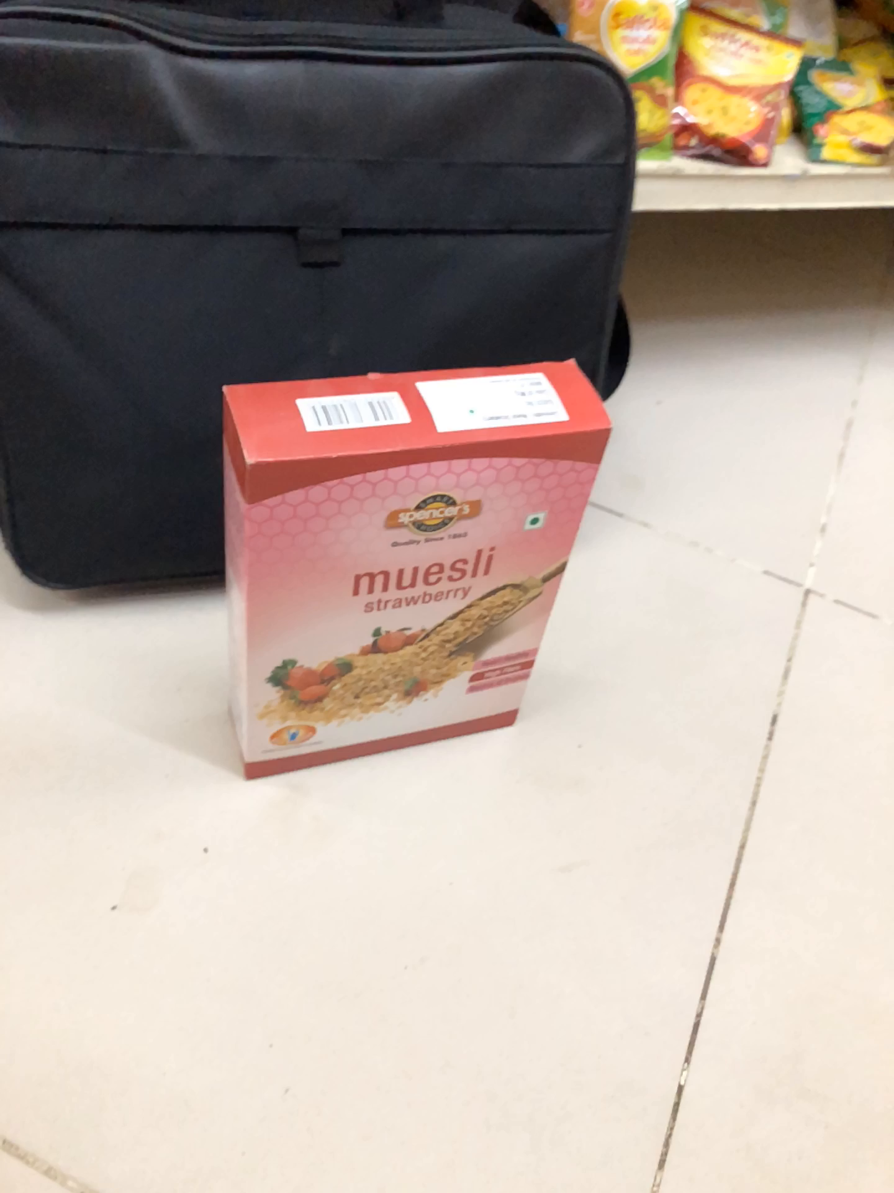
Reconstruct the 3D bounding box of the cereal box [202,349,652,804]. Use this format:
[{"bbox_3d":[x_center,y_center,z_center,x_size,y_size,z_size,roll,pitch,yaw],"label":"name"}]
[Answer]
[{"bbox_3d":[-0.025,-0.002,0.548,0.200,0.258,0.060,-9,49,-19],"label":"cereal box"}]
